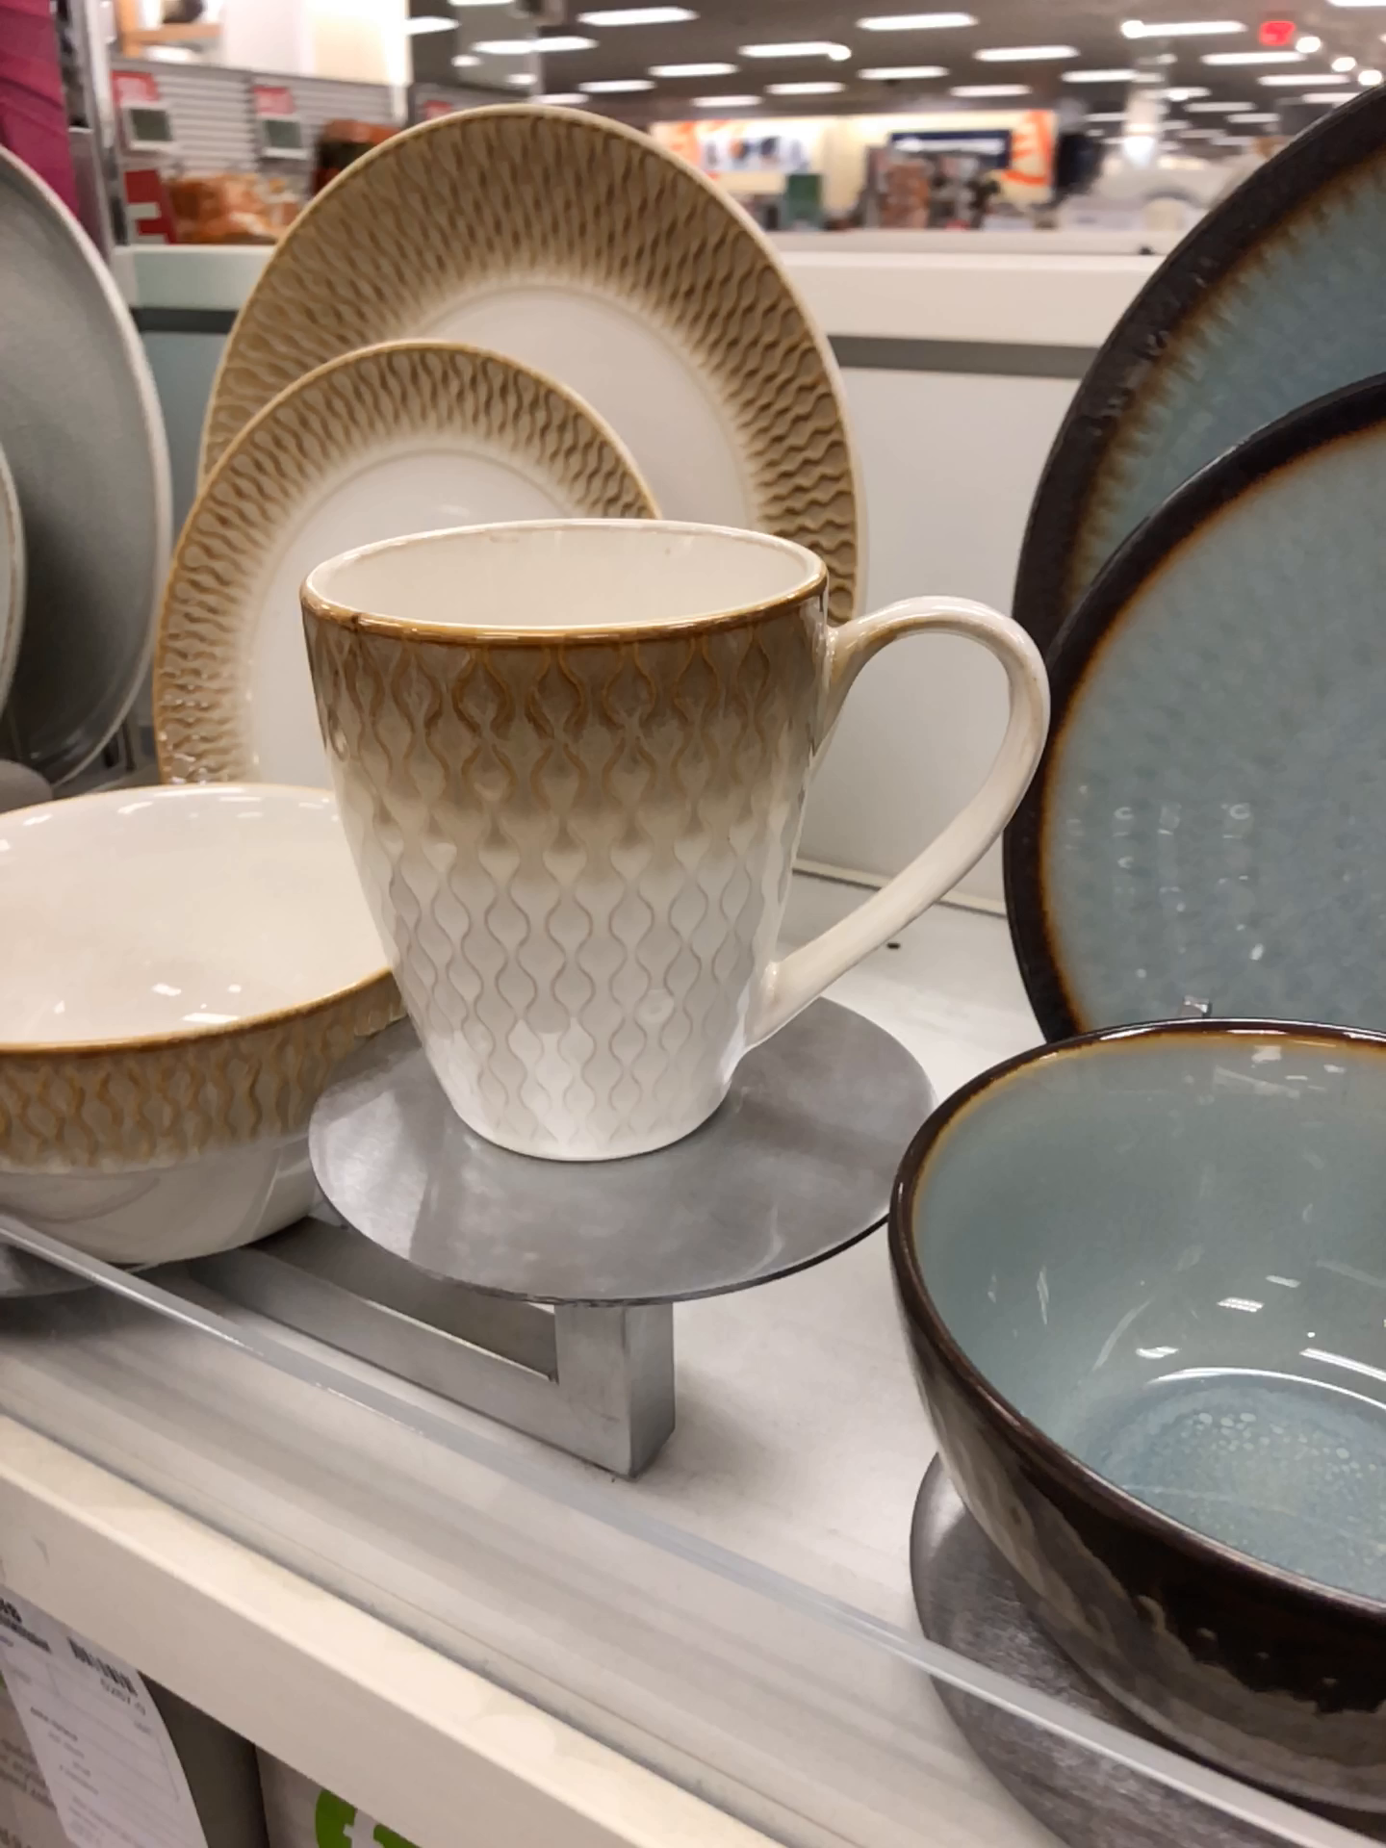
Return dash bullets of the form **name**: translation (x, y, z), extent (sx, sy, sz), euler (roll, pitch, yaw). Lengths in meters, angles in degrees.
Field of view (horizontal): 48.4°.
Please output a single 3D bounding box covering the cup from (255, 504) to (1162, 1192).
- **cup**: translation (-0.002, -0.021, 0.280), extent (0.128, 0.089, 0.100), euler (-3, 24, -6)
